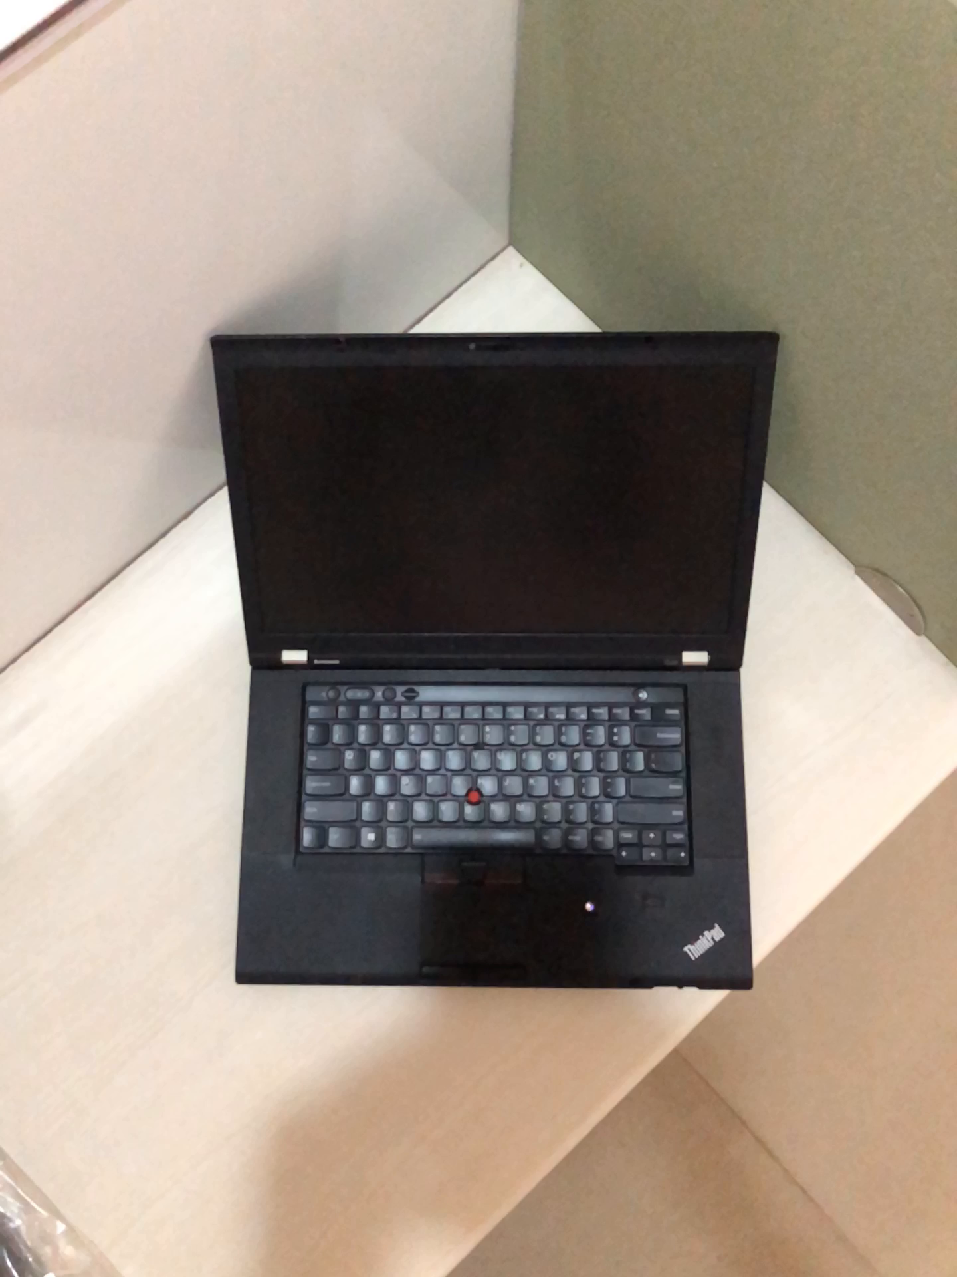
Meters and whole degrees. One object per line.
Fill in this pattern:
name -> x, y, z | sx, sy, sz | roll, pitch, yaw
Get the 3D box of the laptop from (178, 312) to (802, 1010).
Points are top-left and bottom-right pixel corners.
laptop -> 0.012, 0.020, 0.694 | 0.353, 0.142, 0.411 | 1, 82, 2
